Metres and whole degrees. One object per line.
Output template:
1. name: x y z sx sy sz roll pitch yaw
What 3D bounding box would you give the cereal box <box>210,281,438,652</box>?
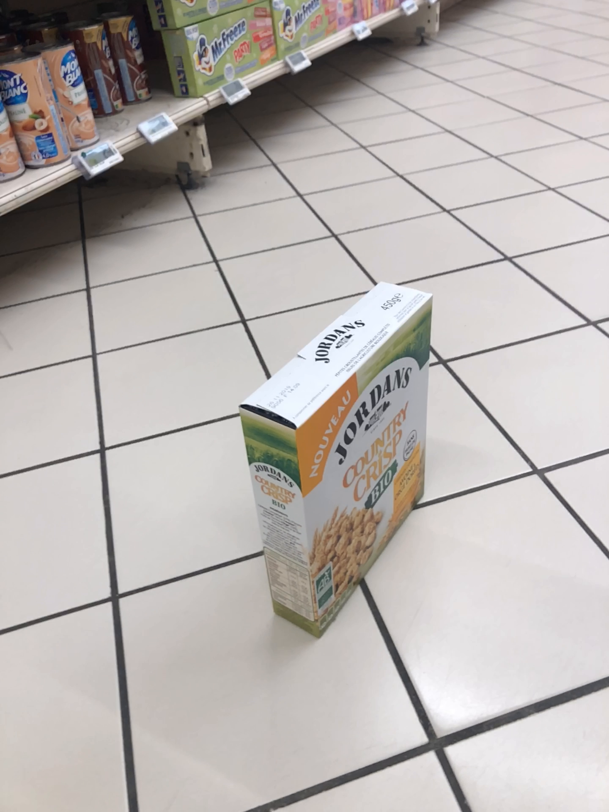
1. cereal box: 0.030 0.044 0.521 0.060 0.209 0.191 19 44 30
